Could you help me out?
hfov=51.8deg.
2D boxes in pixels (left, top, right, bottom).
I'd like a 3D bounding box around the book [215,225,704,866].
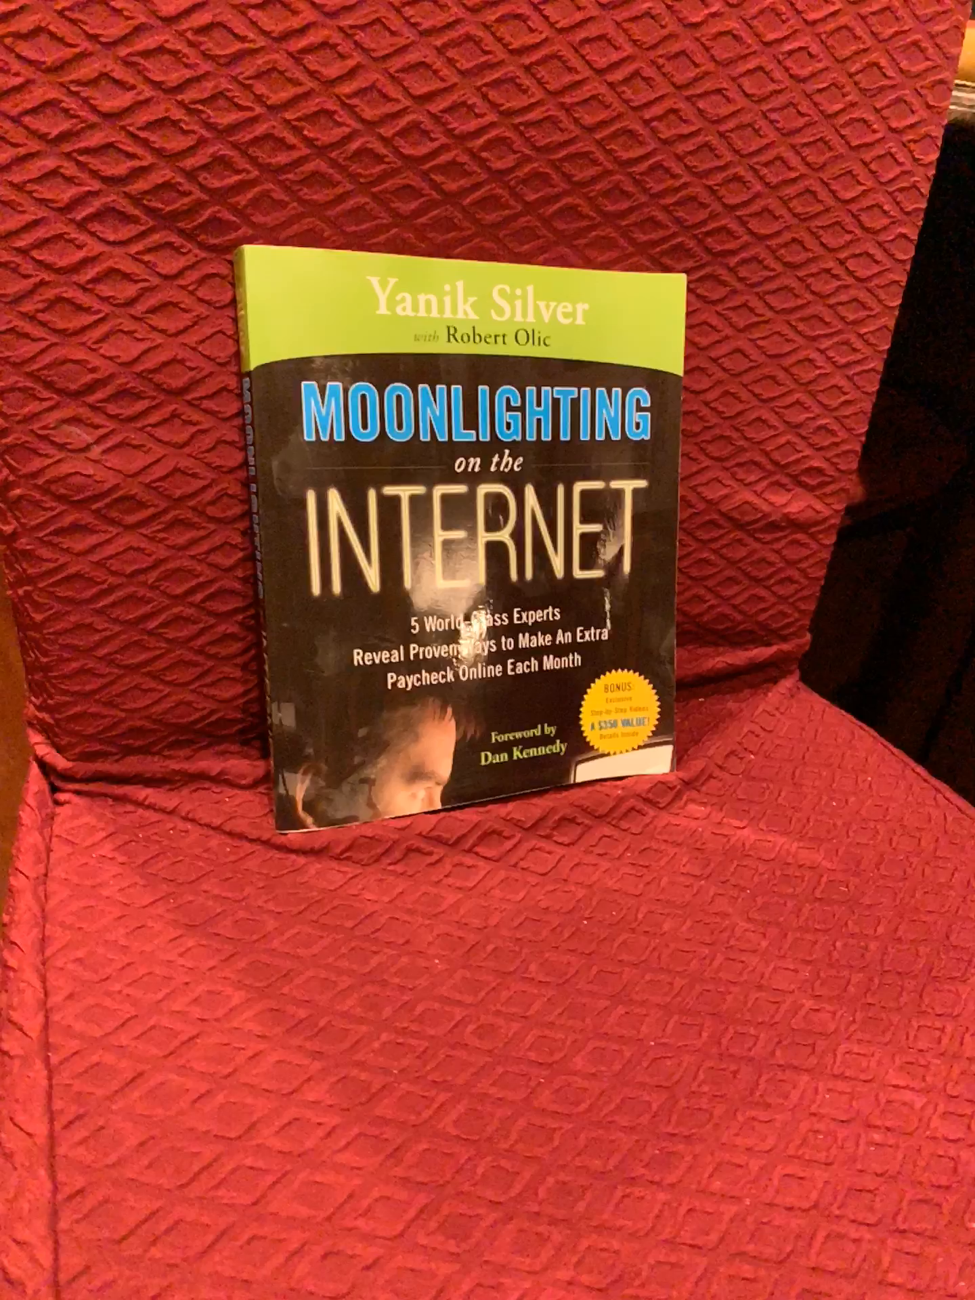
[{"bbox_3d":[-0.003,-0.045,0.433,0.200,0.239,0.040,-6,12,-23],"label":"book"}]
